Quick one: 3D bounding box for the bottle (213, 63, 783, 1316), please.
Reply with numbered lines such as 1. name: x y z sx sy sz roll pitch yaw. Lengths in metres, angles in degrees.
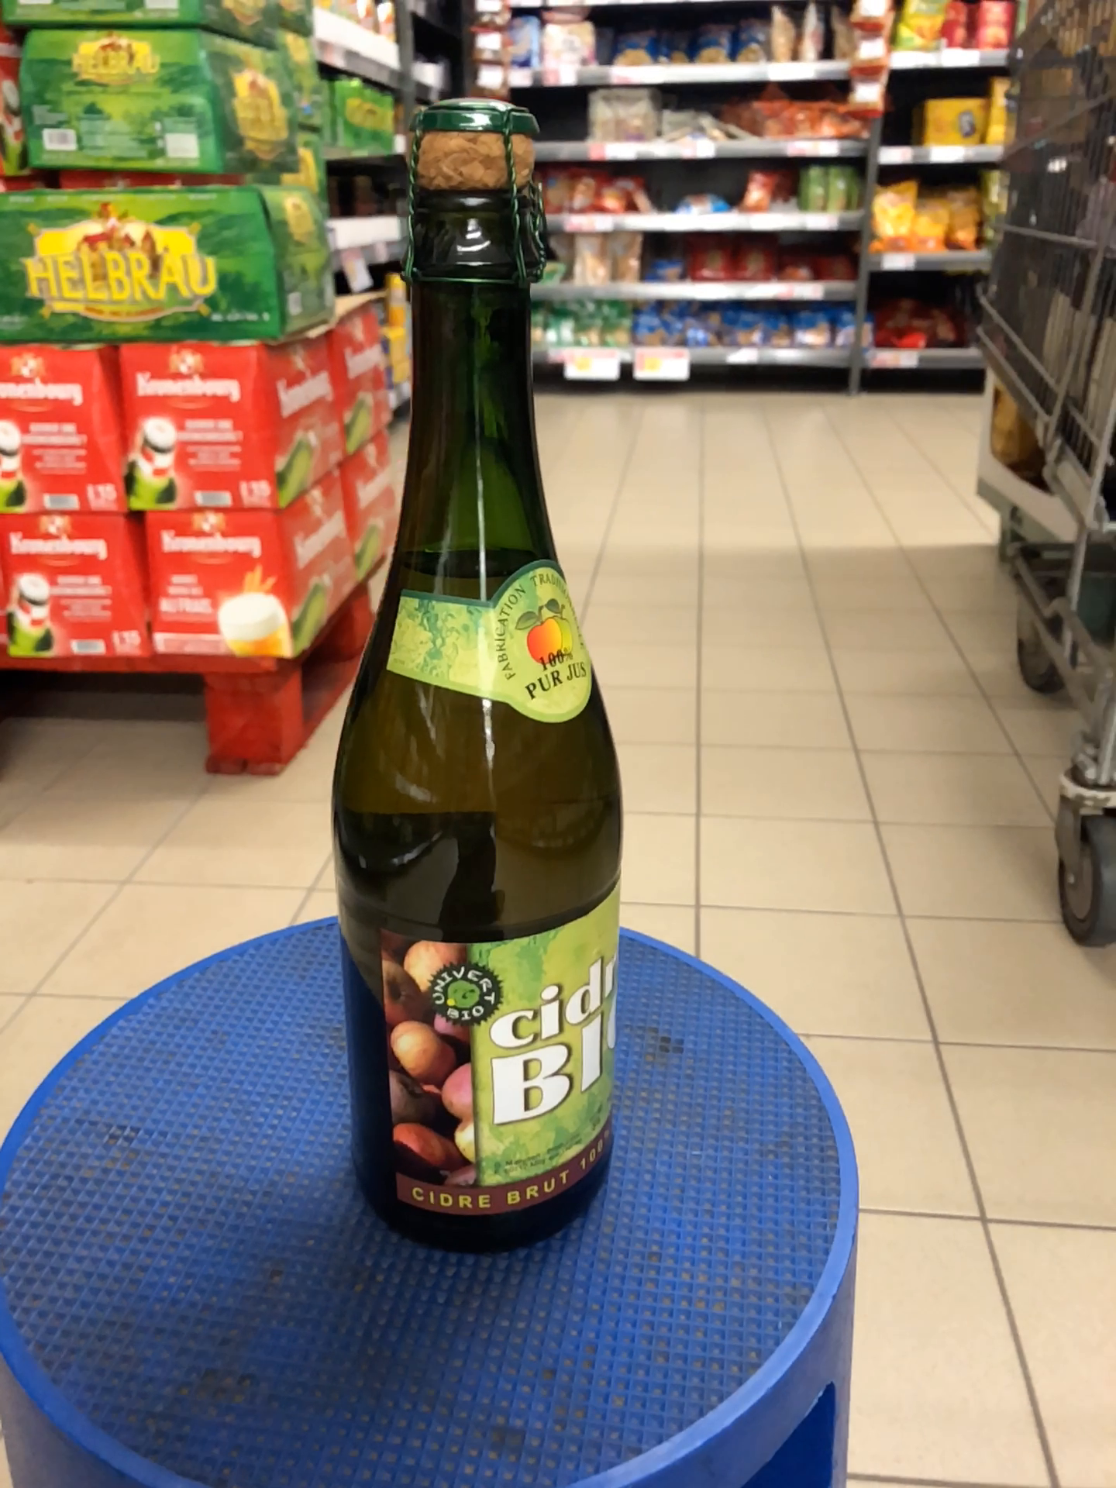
1. bottle: -0.014 -0.008 0.325 0.090 0.289 0.090 -1 23 0
